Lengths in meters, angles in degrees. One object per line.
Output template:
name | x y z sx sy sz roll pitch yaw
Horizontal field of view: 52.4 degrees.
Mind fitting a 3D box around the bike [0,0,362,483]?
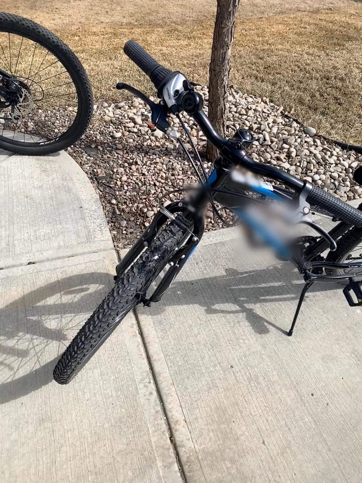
bike | 0.357 0.076 0.934 1.390 0.886 0.516 -16 47 -10
